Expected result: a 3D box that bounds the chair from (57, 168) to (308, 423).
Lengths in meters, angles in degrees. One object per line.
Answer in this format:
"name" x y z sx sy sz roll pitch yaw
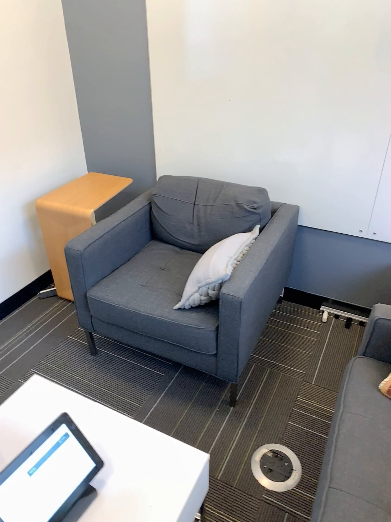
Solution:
"chair" 0.005 0.074 2.054 0.842 0.716 0.944 14 35 21
